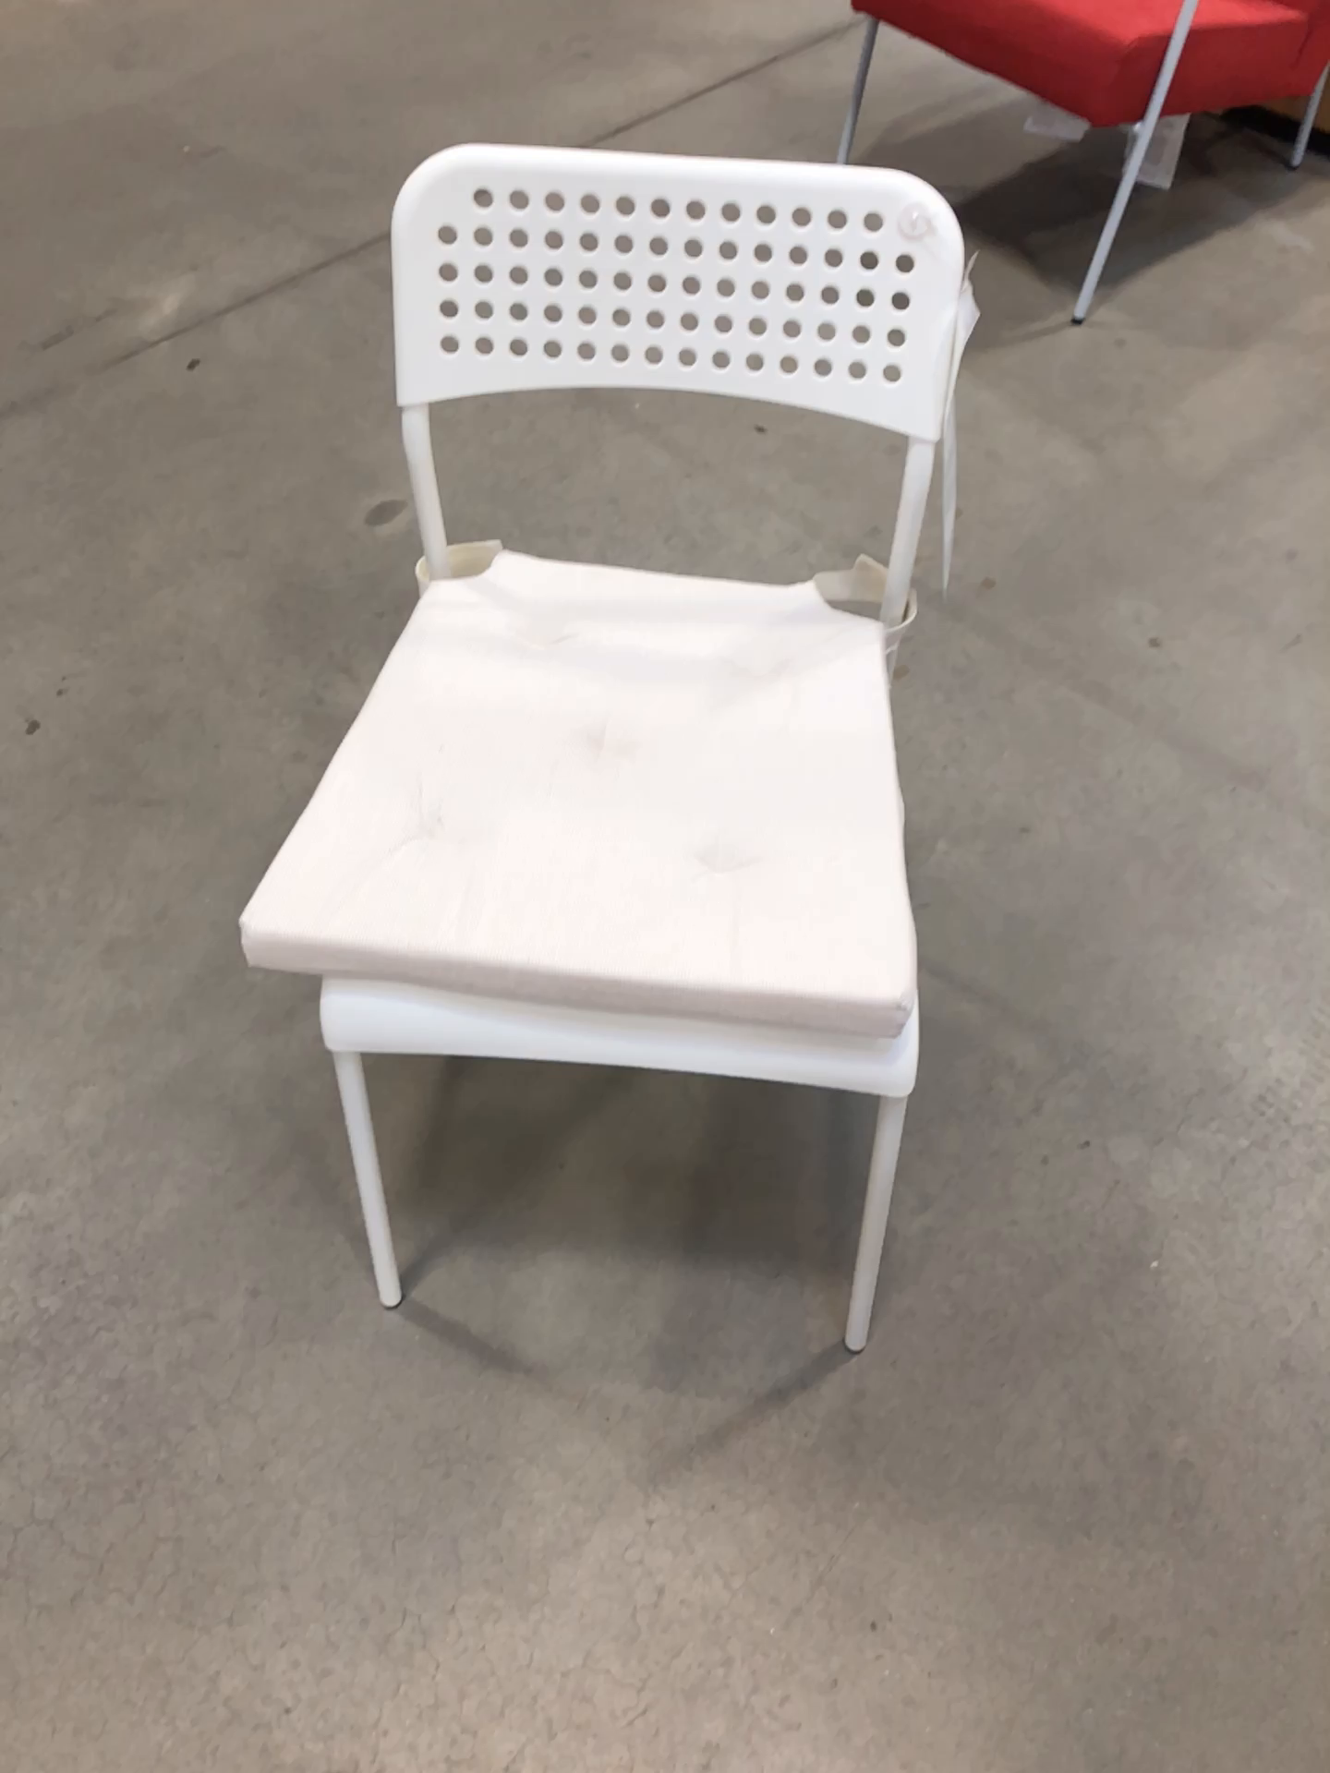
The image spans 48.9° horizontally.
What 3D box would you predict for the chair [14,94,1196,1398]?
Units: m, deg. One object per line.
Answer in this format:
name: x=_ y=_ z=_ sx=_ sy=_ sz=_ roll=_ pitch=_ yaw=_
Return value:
chair: x=-0.014 y=-0.050 z=1.045 sx=0.480 sy=0.738 sz=0.531 roll=4 pitch=51 yaw=2
